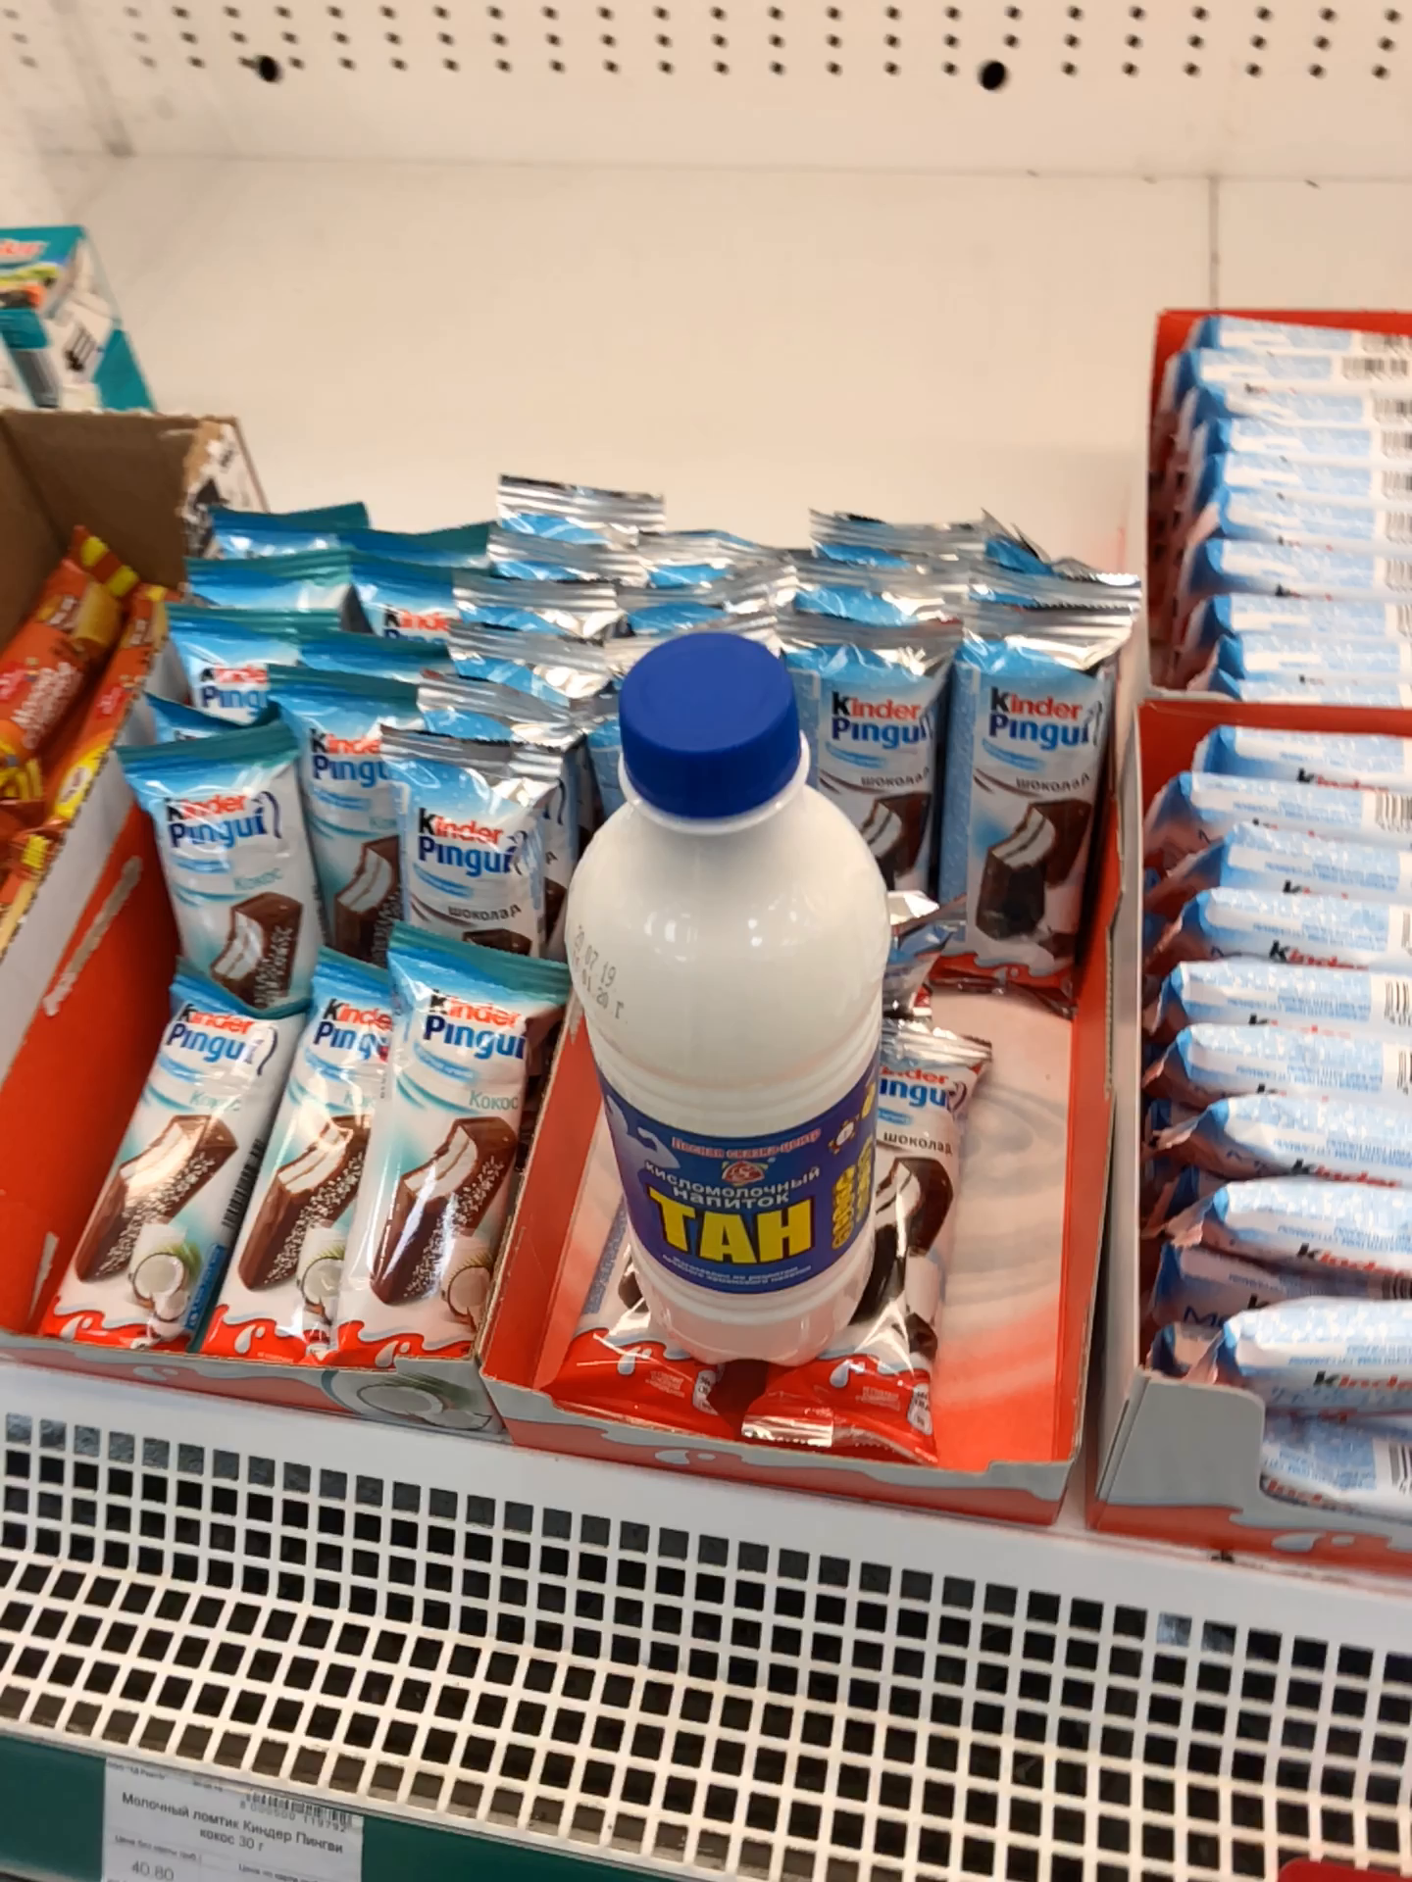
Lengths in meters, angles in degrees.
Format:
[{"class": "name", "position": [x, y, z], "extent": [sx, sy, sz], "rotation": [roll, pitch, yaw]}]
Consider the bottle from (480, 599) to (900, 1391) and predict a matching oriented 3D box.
[{"class": "bottle", "position": [0.006, 0.027, 0.332], "extent": [0.064, 0.203, 0.060], "rotation": [-3, 52, 4]}]
